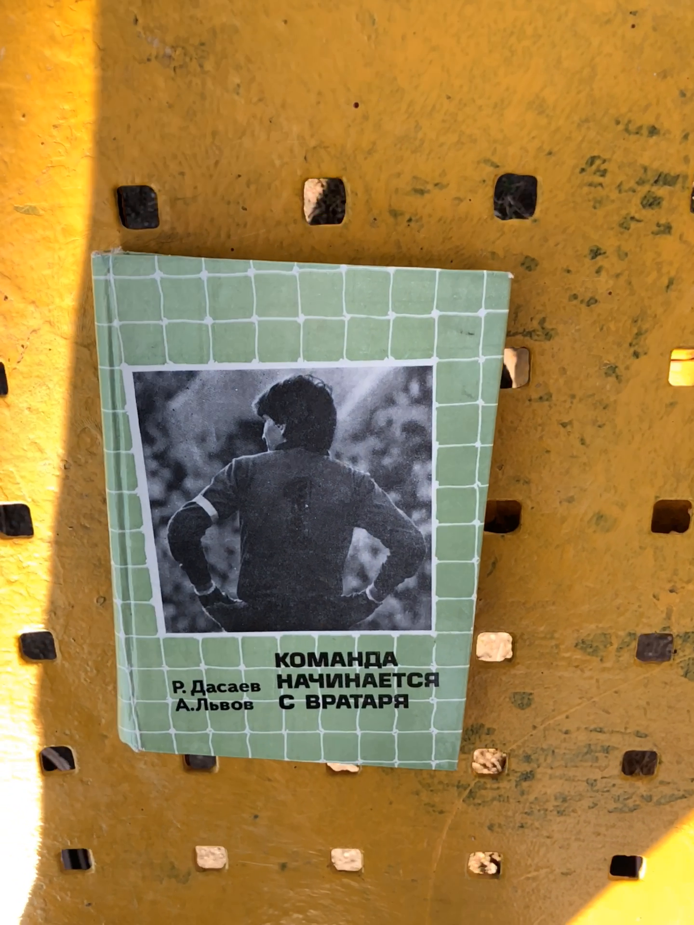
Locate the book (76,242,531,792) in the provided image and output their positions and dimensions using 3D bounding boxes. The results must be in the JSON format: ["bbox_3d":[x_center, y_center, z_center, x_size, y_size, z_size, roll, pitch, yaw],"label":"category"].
[{"bbox_3d":[-0.015,0.021,0.239,0.117,0.030,0.165,4,109,2],"label":"book"}]
